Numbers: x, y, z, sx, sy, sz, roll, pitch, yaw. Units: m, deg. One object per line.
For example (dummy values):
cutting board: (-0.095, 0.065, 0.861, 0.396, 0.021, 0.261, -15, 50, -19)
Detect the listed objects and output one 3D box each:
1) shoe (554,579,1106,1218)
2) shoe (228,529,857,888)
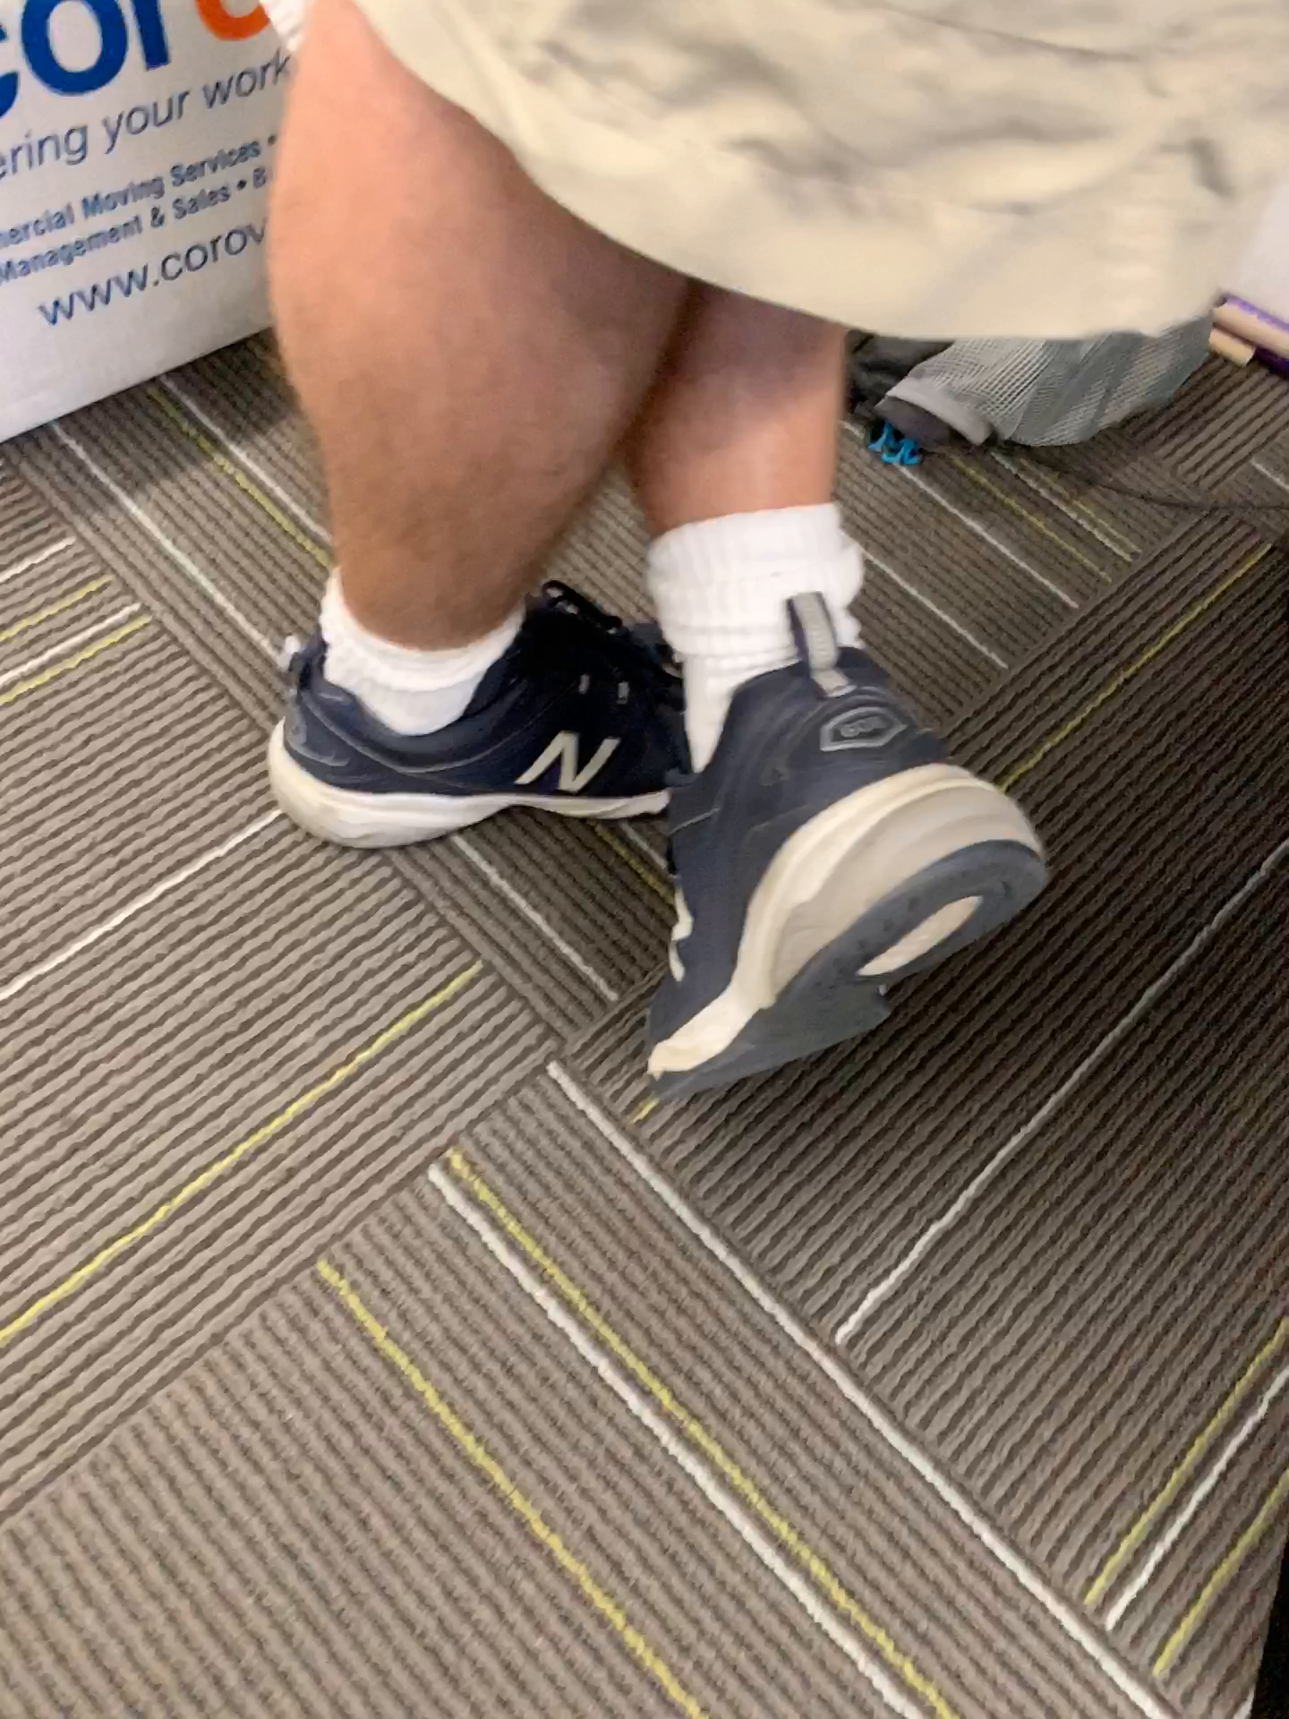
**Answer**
shoe: (0.049, 0.038, 0.560, 0.122, 0.293, 0.129, -17, 67, -15)
shoe: (-0.054, -0.084, 0.705, 0.297, 0.077, 0.120, -11, 63, -14)
